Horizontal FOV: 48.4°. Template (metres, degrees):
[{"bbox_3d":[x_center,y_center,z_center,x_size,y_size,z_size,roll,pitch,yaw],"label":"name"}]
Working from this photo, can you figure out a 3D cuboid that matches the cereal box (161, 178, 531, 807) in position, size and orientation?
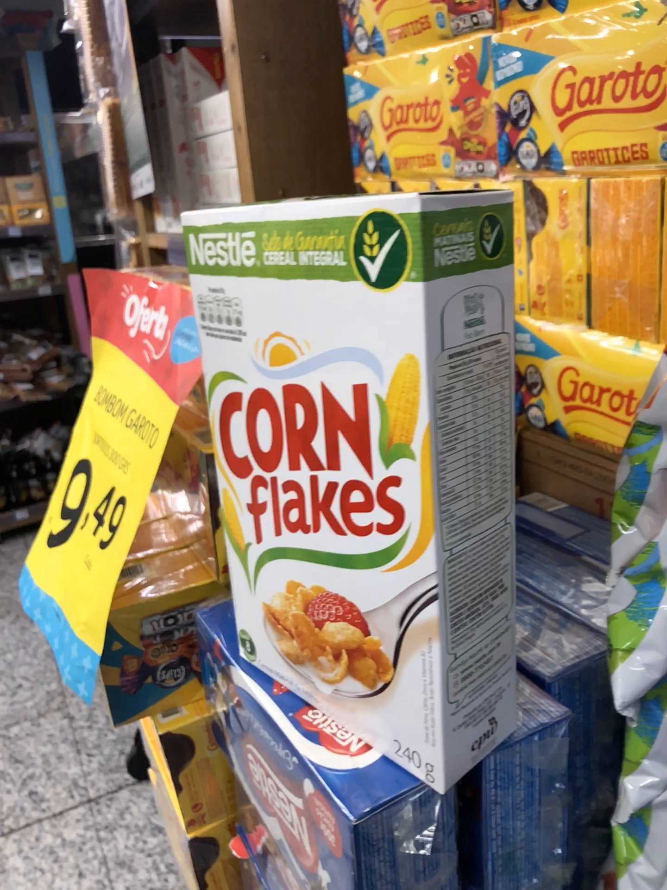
[{"bbox_3d":[0.001,0.009,0.356,0.060,0.249,0.170,-17,23,-38],"label":"cereal box"}]
